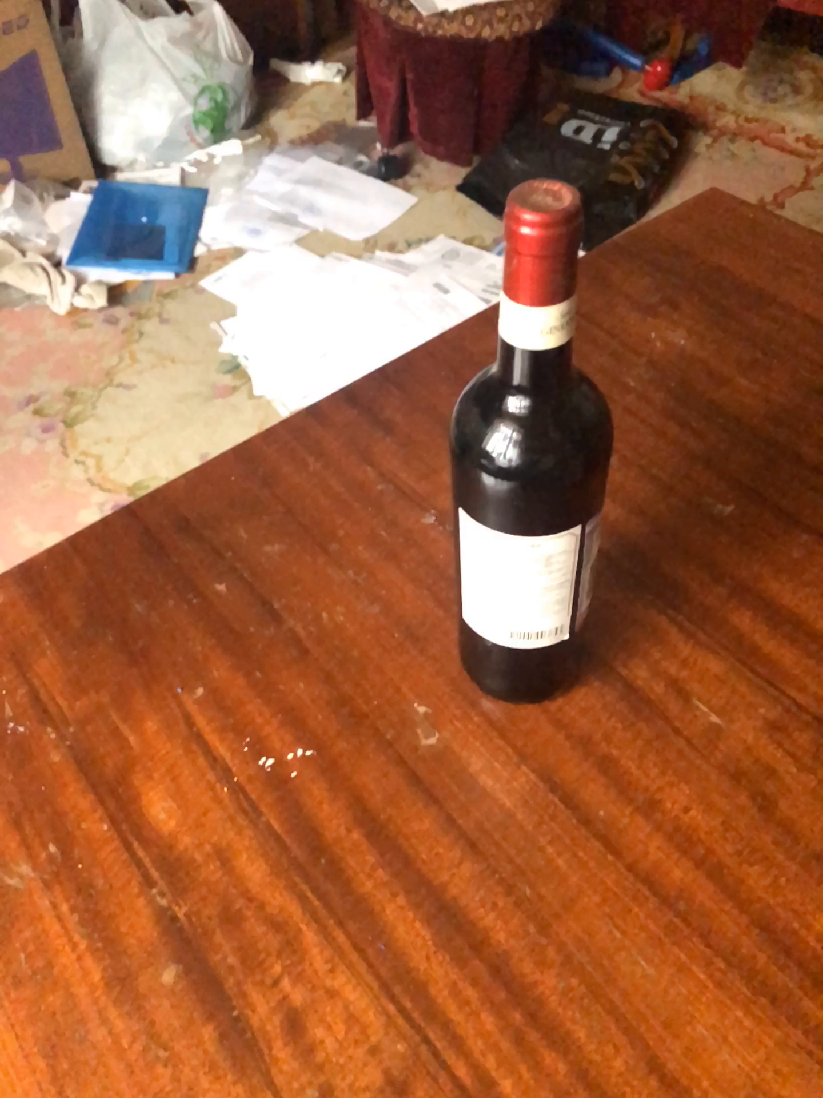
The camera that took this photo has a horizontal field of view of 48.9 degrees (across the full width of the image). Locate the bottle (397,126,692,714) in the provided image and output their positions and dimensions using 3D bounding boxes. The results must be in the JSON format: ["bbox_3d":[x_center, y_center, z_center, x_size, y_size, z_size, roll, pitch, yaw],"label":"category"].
[{"bbox_3d":[0.056,-0.037,0.418,0.090,0.268,0.091,-2,51,2],"label":"bottle"}]
